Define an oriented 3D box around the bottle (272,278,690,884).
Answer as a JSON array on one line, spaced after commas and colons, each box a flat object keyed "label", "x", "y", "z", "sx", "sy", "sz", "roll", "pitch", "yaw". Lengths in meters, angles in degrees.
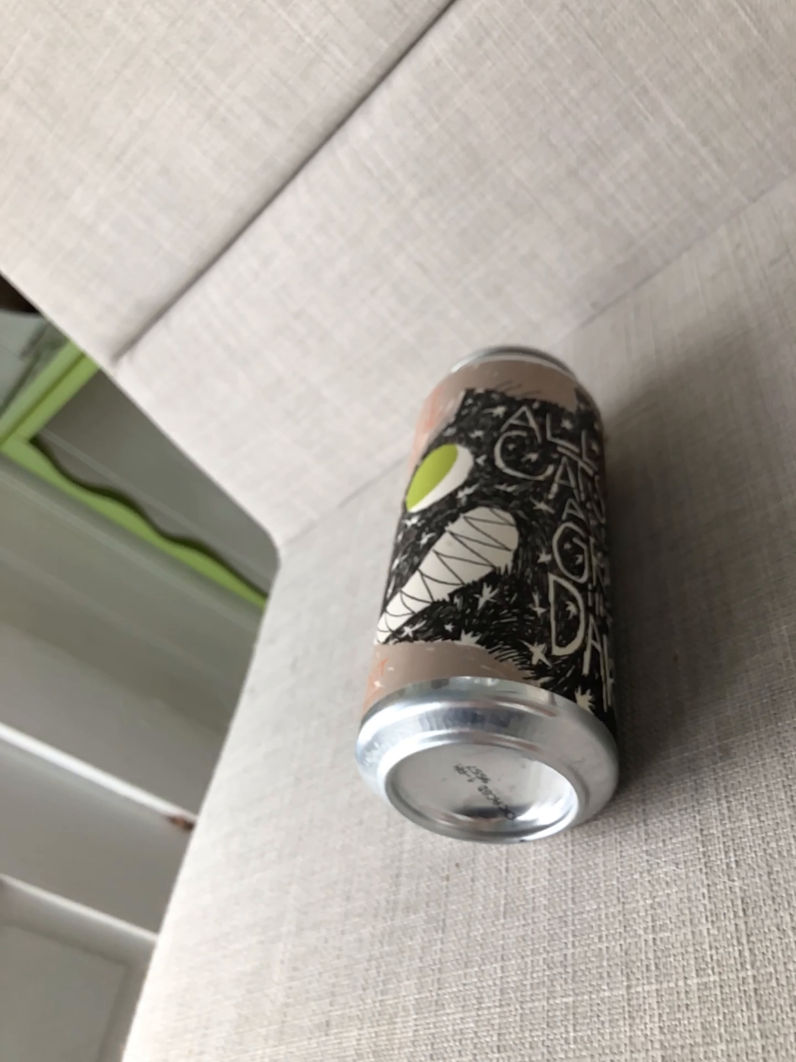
[{"label": "bottle", "x": 0.025, "y": 0.009, "z": 0.265, "sx": 0.070, "sy": 0.070, "sz": 0.151, "roll": -33, "pitch": 34, "yaw": 34}]
